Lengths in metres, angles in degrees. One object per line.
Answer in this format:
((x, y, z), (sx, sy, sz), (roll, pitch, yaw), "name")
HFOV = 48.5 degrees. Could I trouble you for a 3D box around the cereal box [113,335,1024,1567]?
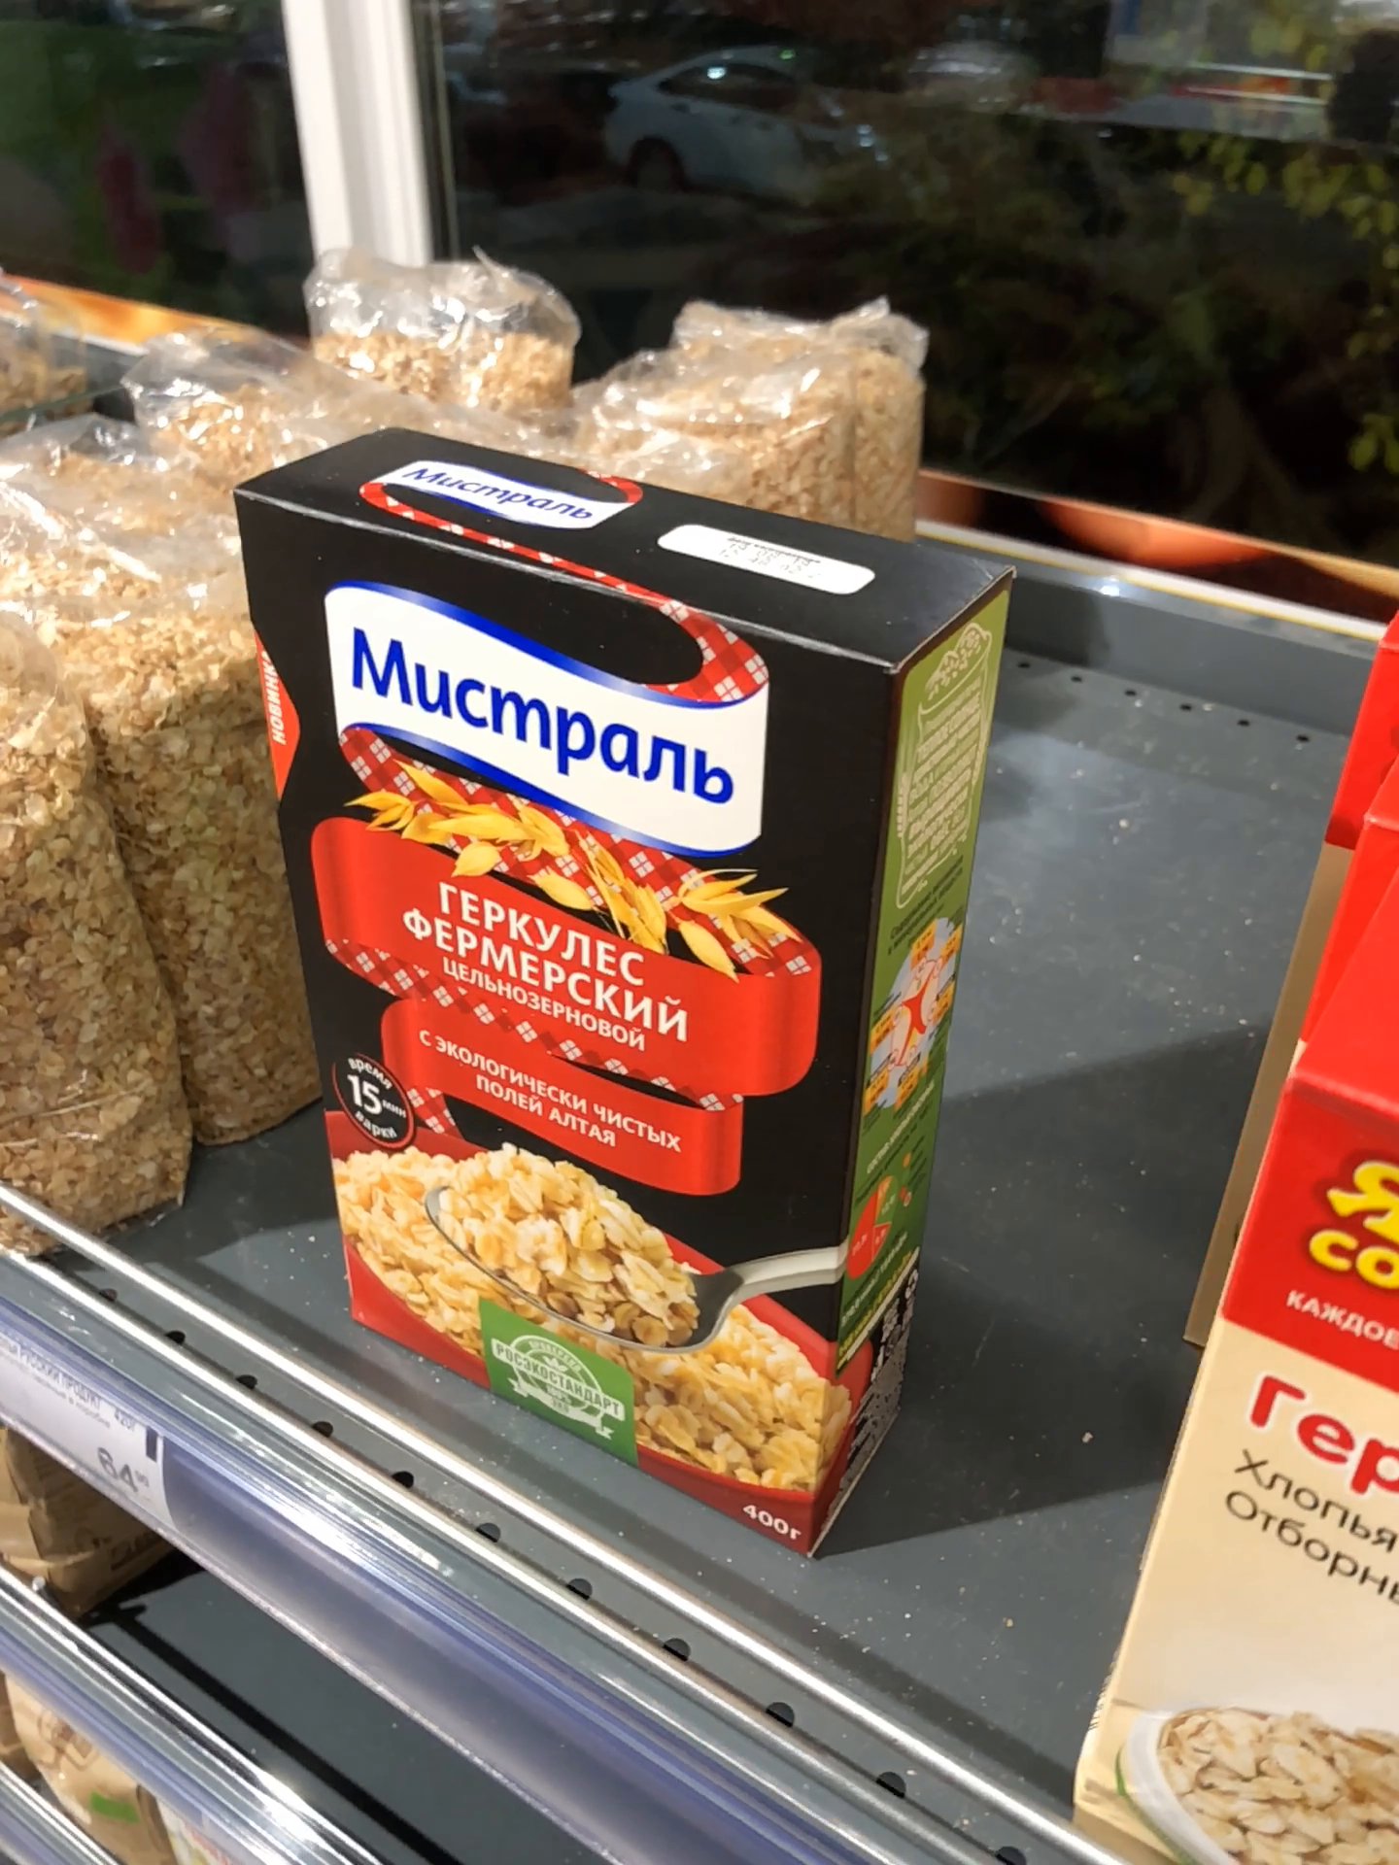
((-0.025, 0.010, 0.309), (0.140, 0.219, 0.050), (19, 39, 24), "cereal box")
